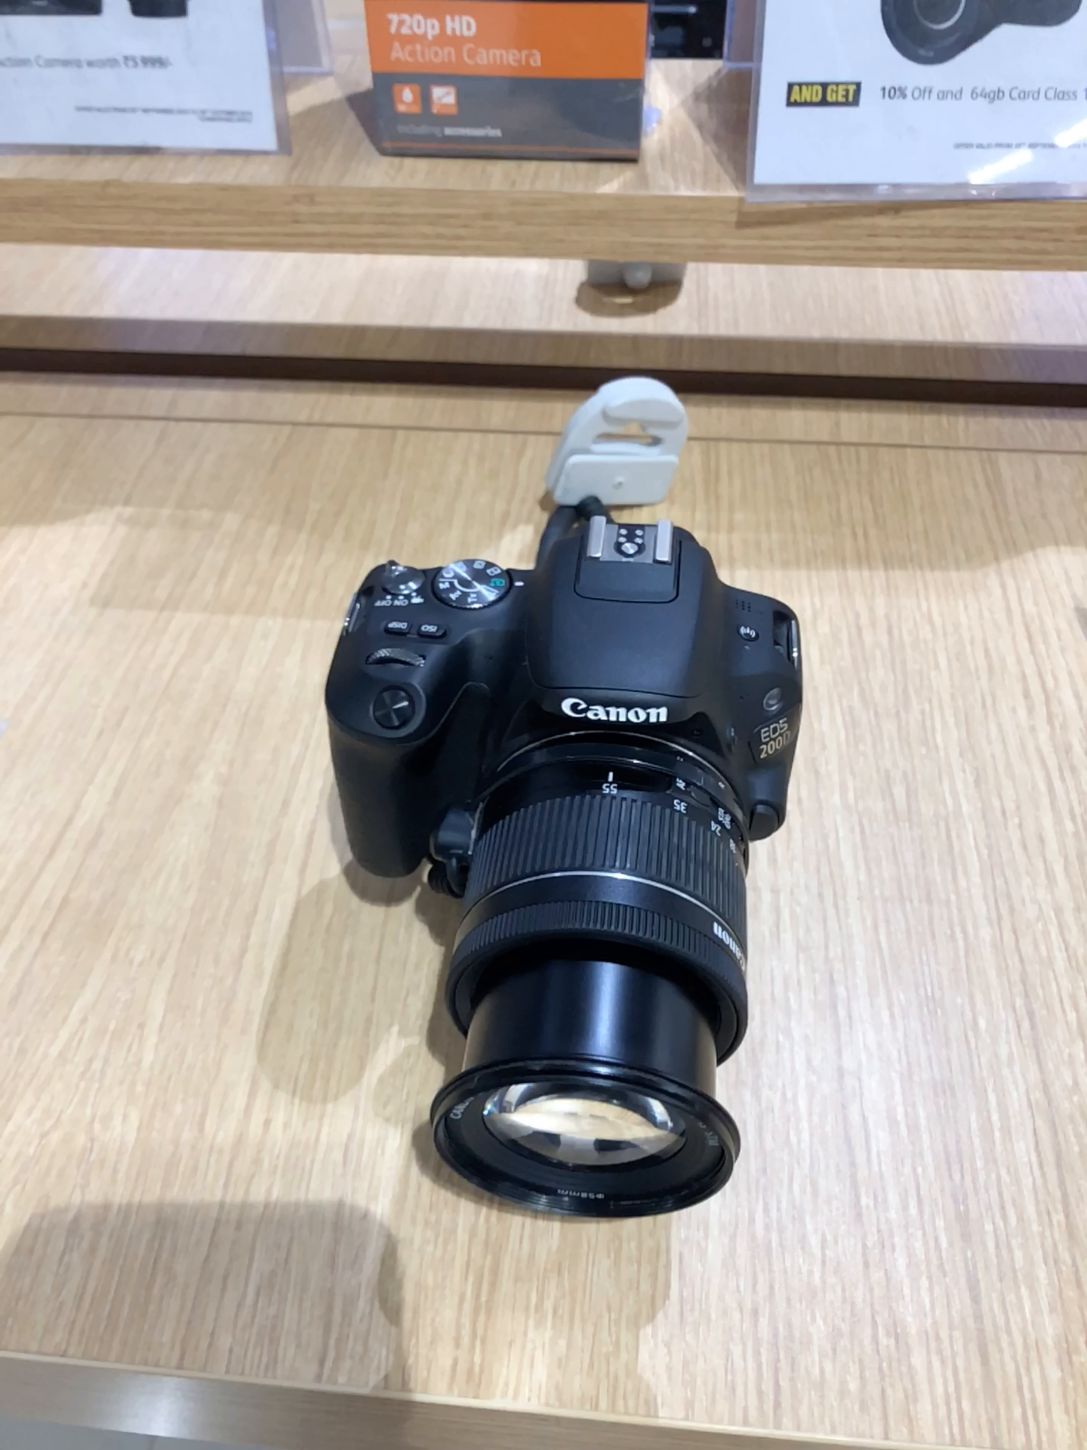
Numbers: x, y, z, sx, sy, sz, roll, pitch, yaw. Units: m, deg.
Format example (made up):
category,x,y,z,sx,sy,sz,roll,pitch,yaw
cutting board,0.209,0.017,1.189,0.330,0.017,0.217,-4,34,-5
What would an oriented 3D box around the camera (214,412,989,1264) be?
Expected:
category,x,y,z,sx,sy,sz,roll,pitch,yaw
camera,0.016,0.017,0.278,0.120,0.099,0.161,4,46,4
